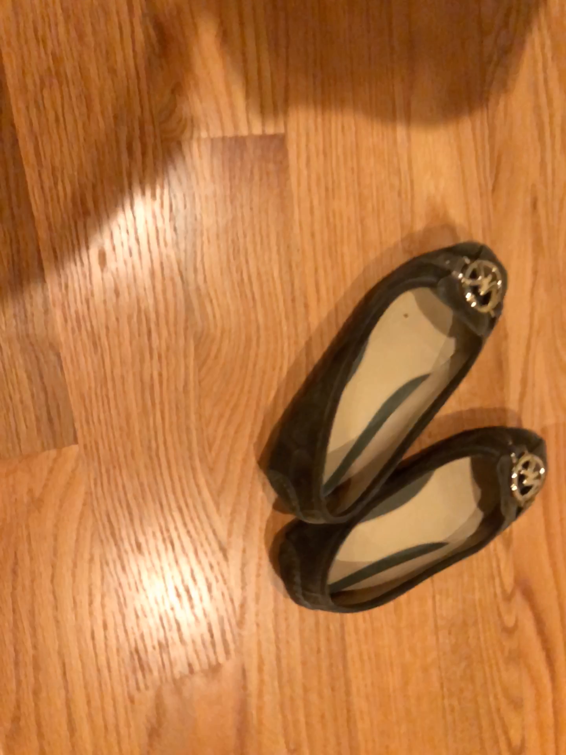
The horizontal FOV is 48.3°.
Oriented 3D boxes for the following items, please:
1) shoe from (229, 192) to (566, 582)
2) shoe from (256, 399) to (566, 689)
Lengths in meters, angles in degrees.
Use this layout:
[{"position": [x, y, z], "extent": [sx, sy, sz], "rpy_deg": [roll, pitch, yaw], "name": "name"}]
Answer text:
[{"position": [0.086, 0.000, 0.426], "extent": [0.091, 0.079, 0.242], "rpy_deg": [44, 81, -21], "name": "shoe"}, {"position": [0.115, 0.106, 0.456], "extent": [0.240, 0.079, 0.091], "rpy_deg": [-21, 104, -17], "name": "shoe"}]
